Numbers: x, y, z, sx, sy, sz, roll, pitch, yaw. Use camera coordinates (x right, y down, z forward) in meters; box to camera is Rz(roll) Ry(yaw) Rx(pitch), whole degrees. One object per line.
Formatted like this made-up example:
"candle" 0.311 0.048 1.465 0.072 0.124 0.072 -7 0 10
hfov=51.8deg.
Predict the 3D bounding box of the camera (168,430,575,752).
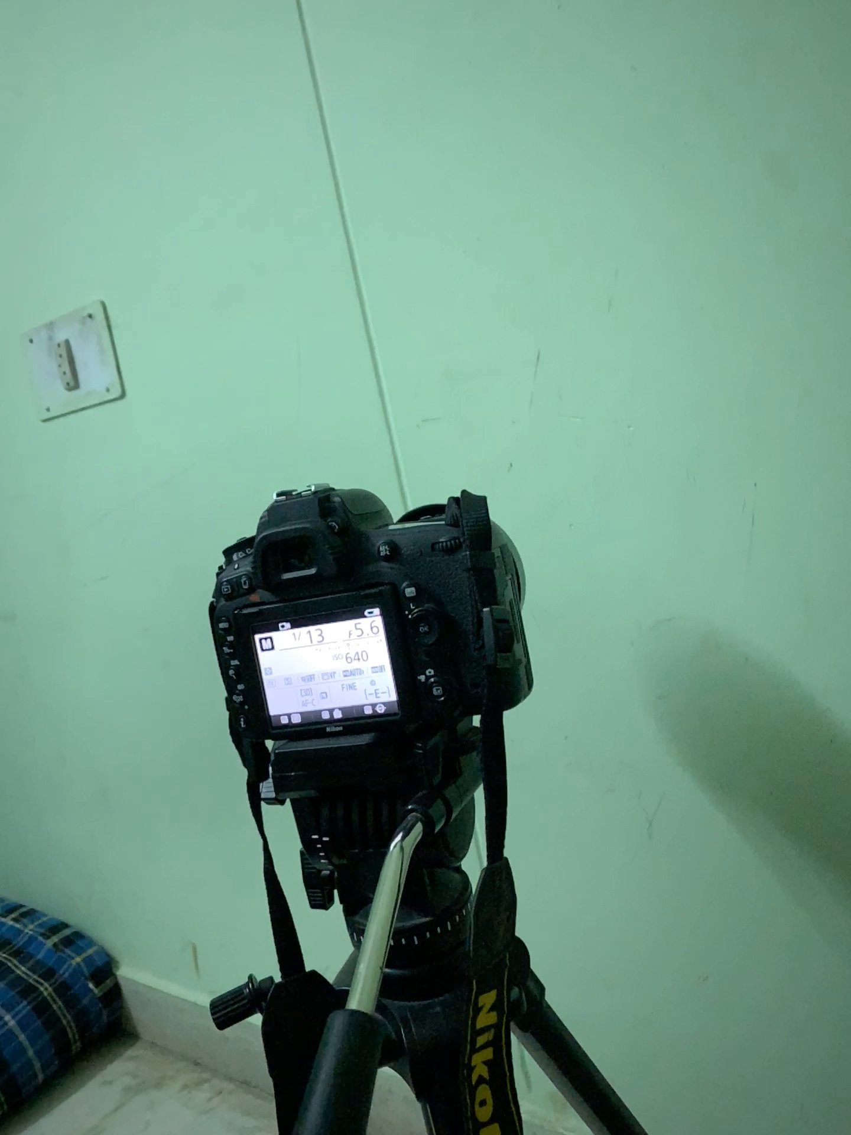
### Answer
"camera" -0.013 0.002 0.470 0.140 0.117 0.182 -9 8 19
